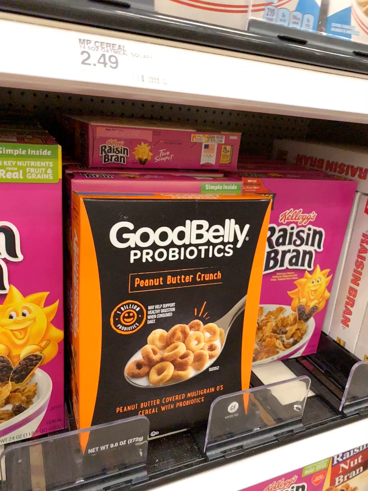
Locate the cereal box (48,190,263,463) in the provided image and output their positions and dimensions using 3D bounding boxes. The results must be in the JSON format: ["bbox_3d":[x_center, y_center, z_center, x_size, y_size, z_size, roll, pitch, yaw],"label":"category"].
[{"bbox_3d":[-0.028,0.071,0.392,0.200,0.249,0.050,-4,15,-25],"label":"cereal box"}]
